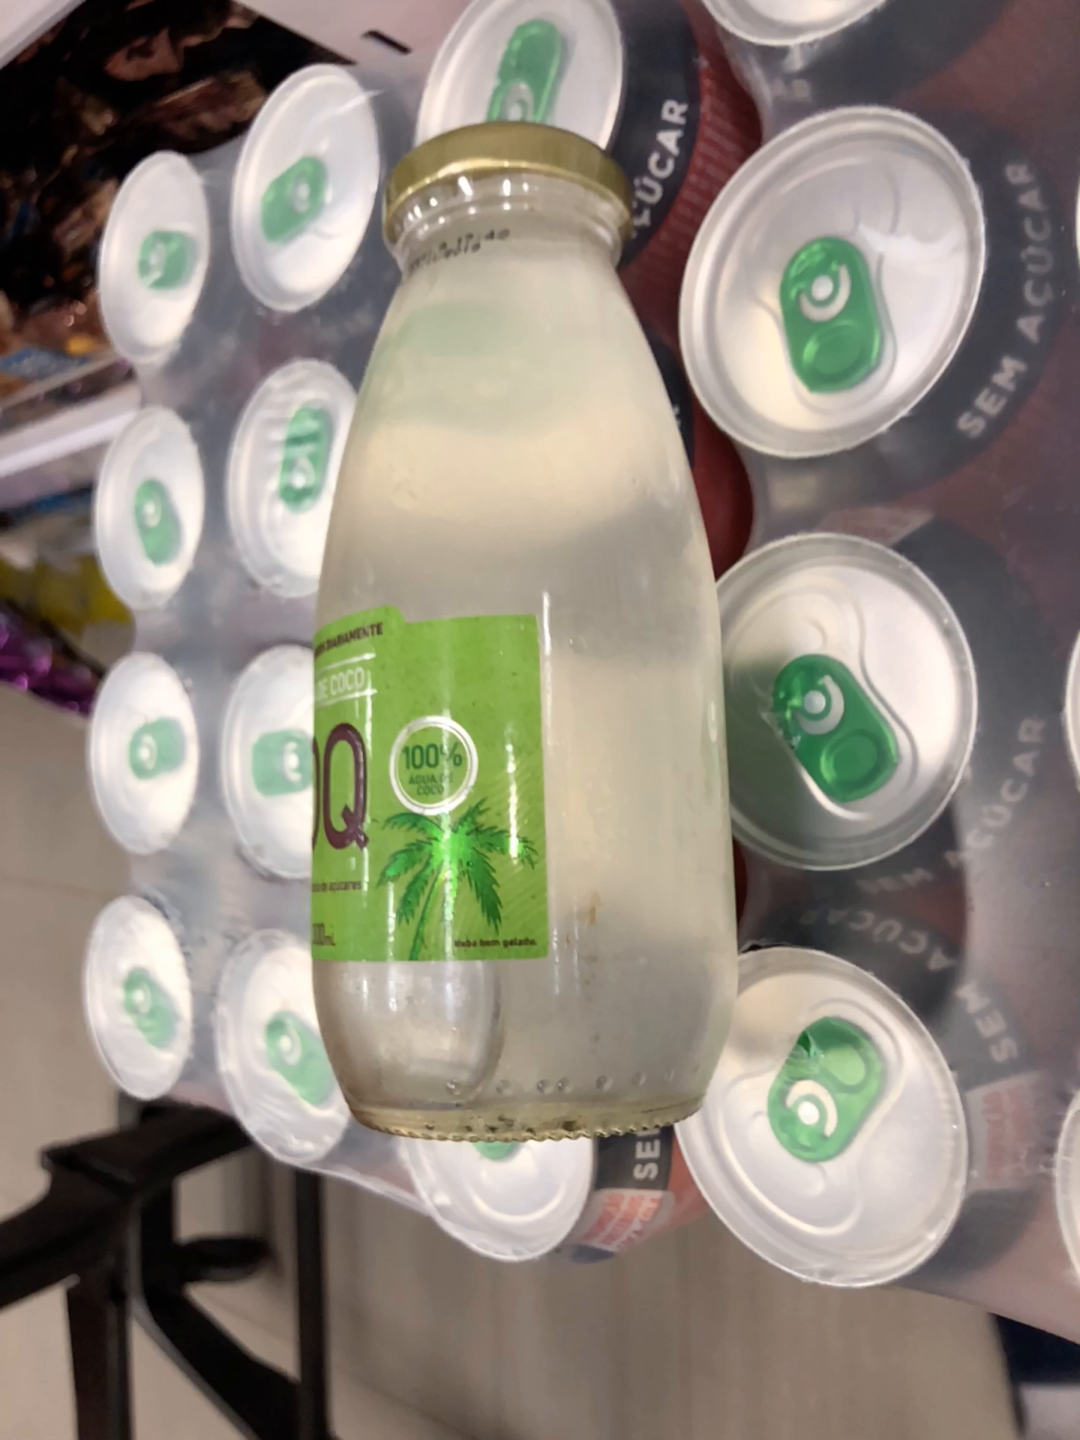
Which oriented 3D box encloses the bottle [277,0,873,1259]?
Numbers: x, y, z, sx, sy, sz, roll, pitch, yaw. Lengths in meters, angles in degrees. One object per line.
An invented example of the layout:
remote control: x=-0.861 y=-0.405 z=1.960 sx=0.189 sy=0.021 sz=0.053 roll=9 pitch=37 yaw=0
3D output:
bottle: x=0.000 y=-0.011 z=0.187 sx=0.070 sy=0.060 sz=0.150 roll=-11 pitch=78 yaw=60
